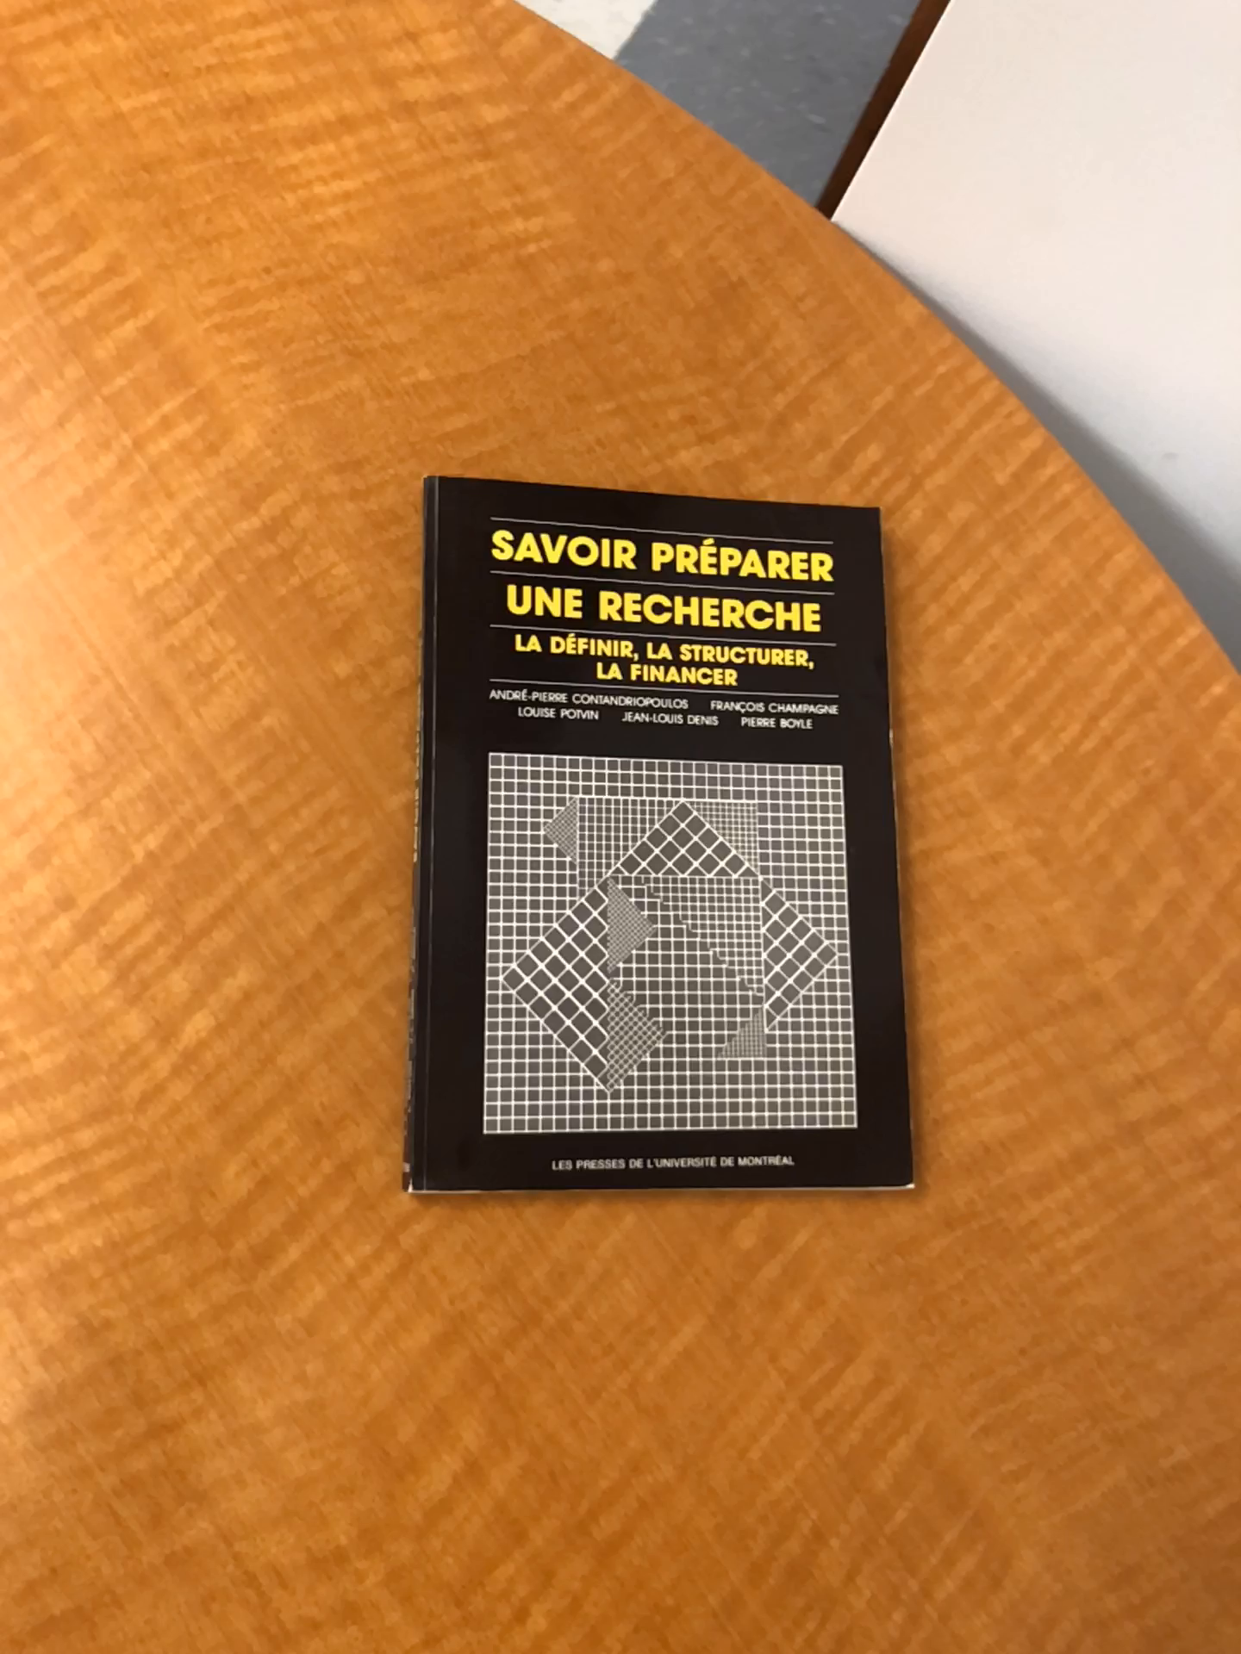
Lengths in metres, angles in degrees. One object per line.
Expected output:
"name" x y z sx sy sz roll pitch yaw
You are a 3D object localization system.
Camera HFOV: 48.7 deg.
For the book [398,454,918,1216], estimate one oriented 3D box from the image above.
"book" 0.009 0.000 0.453 0.160 0.030 0.240 1 78 -12
